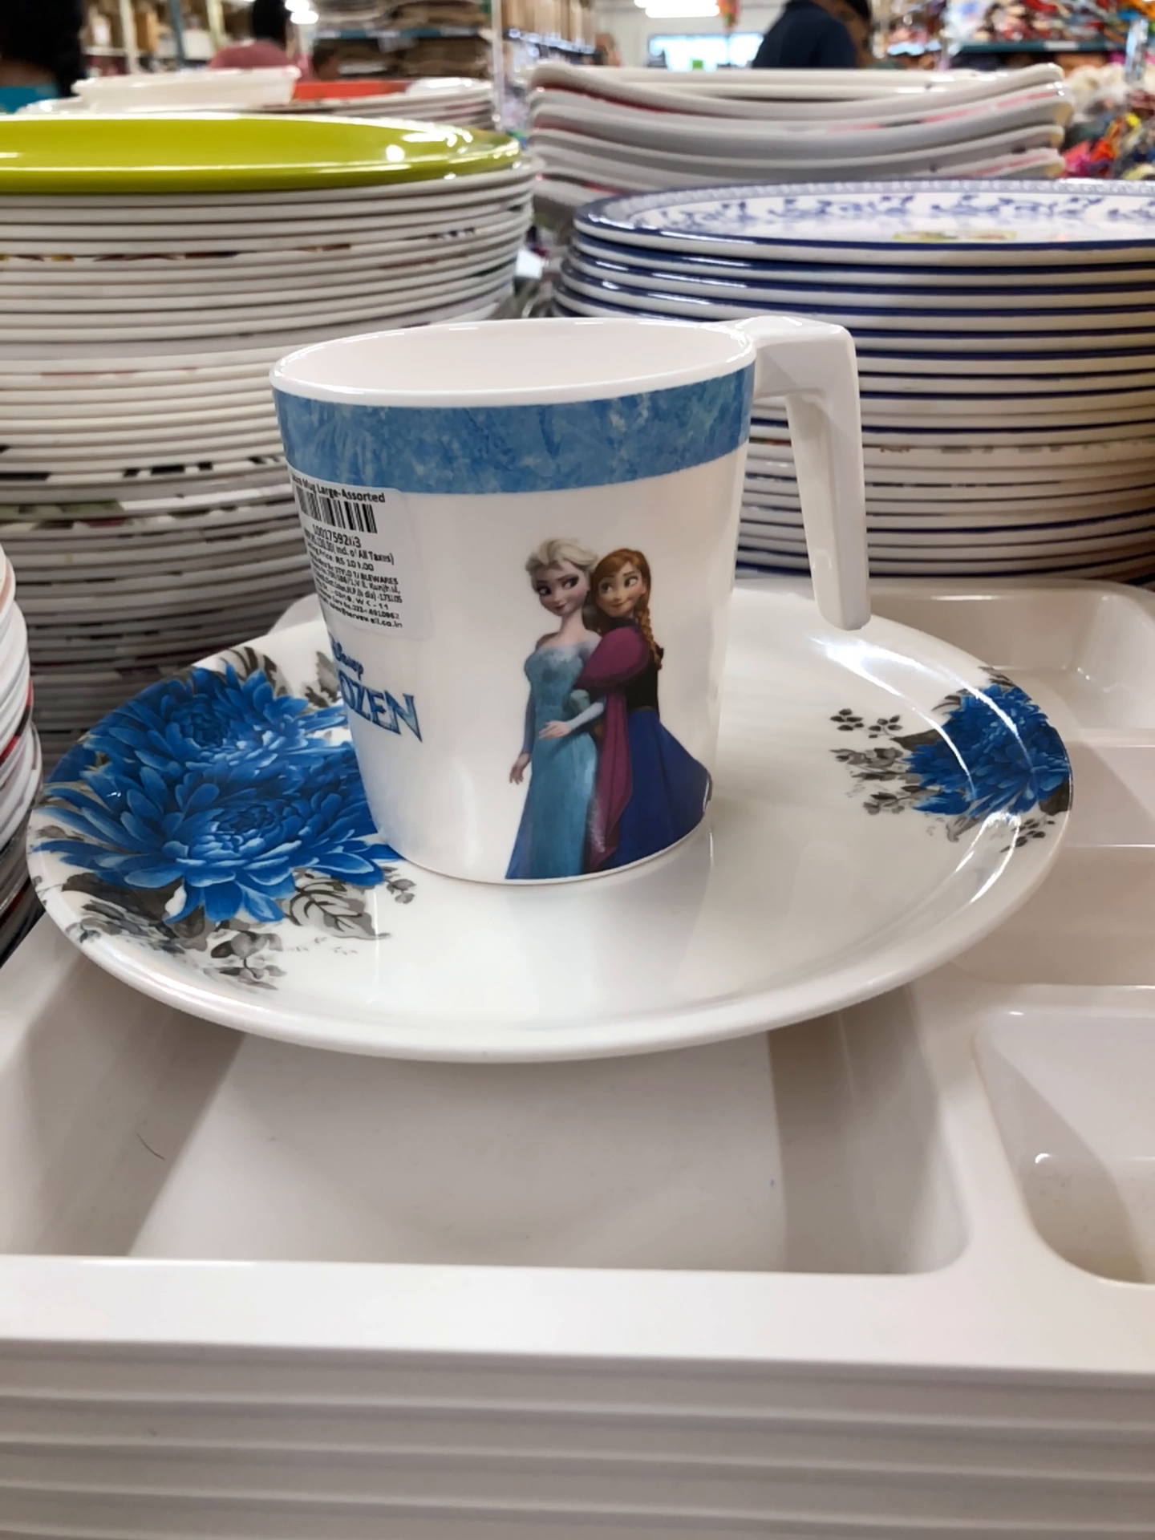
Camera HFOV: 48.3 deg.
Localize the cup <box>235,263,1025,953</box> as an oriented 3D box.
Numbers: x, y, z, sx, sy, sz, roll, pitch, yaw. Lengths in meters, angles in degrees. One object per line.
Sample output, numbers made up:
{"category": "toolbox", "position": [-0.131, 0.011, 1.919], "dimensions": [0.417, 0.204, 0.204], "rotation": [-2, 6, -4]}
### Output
{"category": "cup", "position": [0.003, -0.036, 0.231], "dimensions": [0.110, 0.089, 0.080], "rotation": [-8, 28, -14]}
